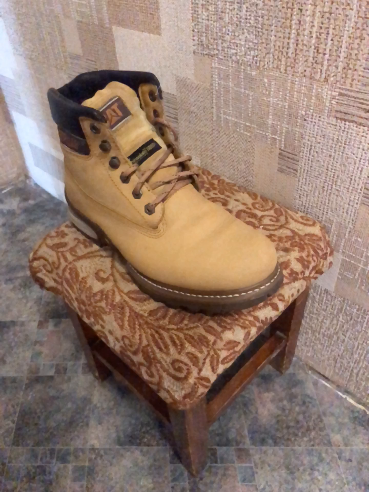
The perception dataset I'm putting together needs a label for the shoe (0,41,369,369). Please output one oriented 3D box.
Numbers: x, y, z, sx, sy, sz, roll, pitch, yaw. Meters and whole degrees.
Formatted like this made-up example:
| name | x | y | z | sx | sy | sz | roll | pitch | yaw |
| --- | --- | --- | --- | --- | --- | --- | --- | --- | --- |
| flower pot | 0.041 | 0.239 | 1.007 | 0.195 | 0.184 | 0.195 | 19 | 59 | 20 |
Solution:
| name | x | y | z | sx | sy | sz | roll | pitch | yaw |
| --- | --- | --- | --- | --- | --- | --- | --- | --- | --- |
| shoe | -0.016 | -0.063 | 0.415 | 0.311 | 0.189 | 0.140 | 29 | 52 | 31 |
